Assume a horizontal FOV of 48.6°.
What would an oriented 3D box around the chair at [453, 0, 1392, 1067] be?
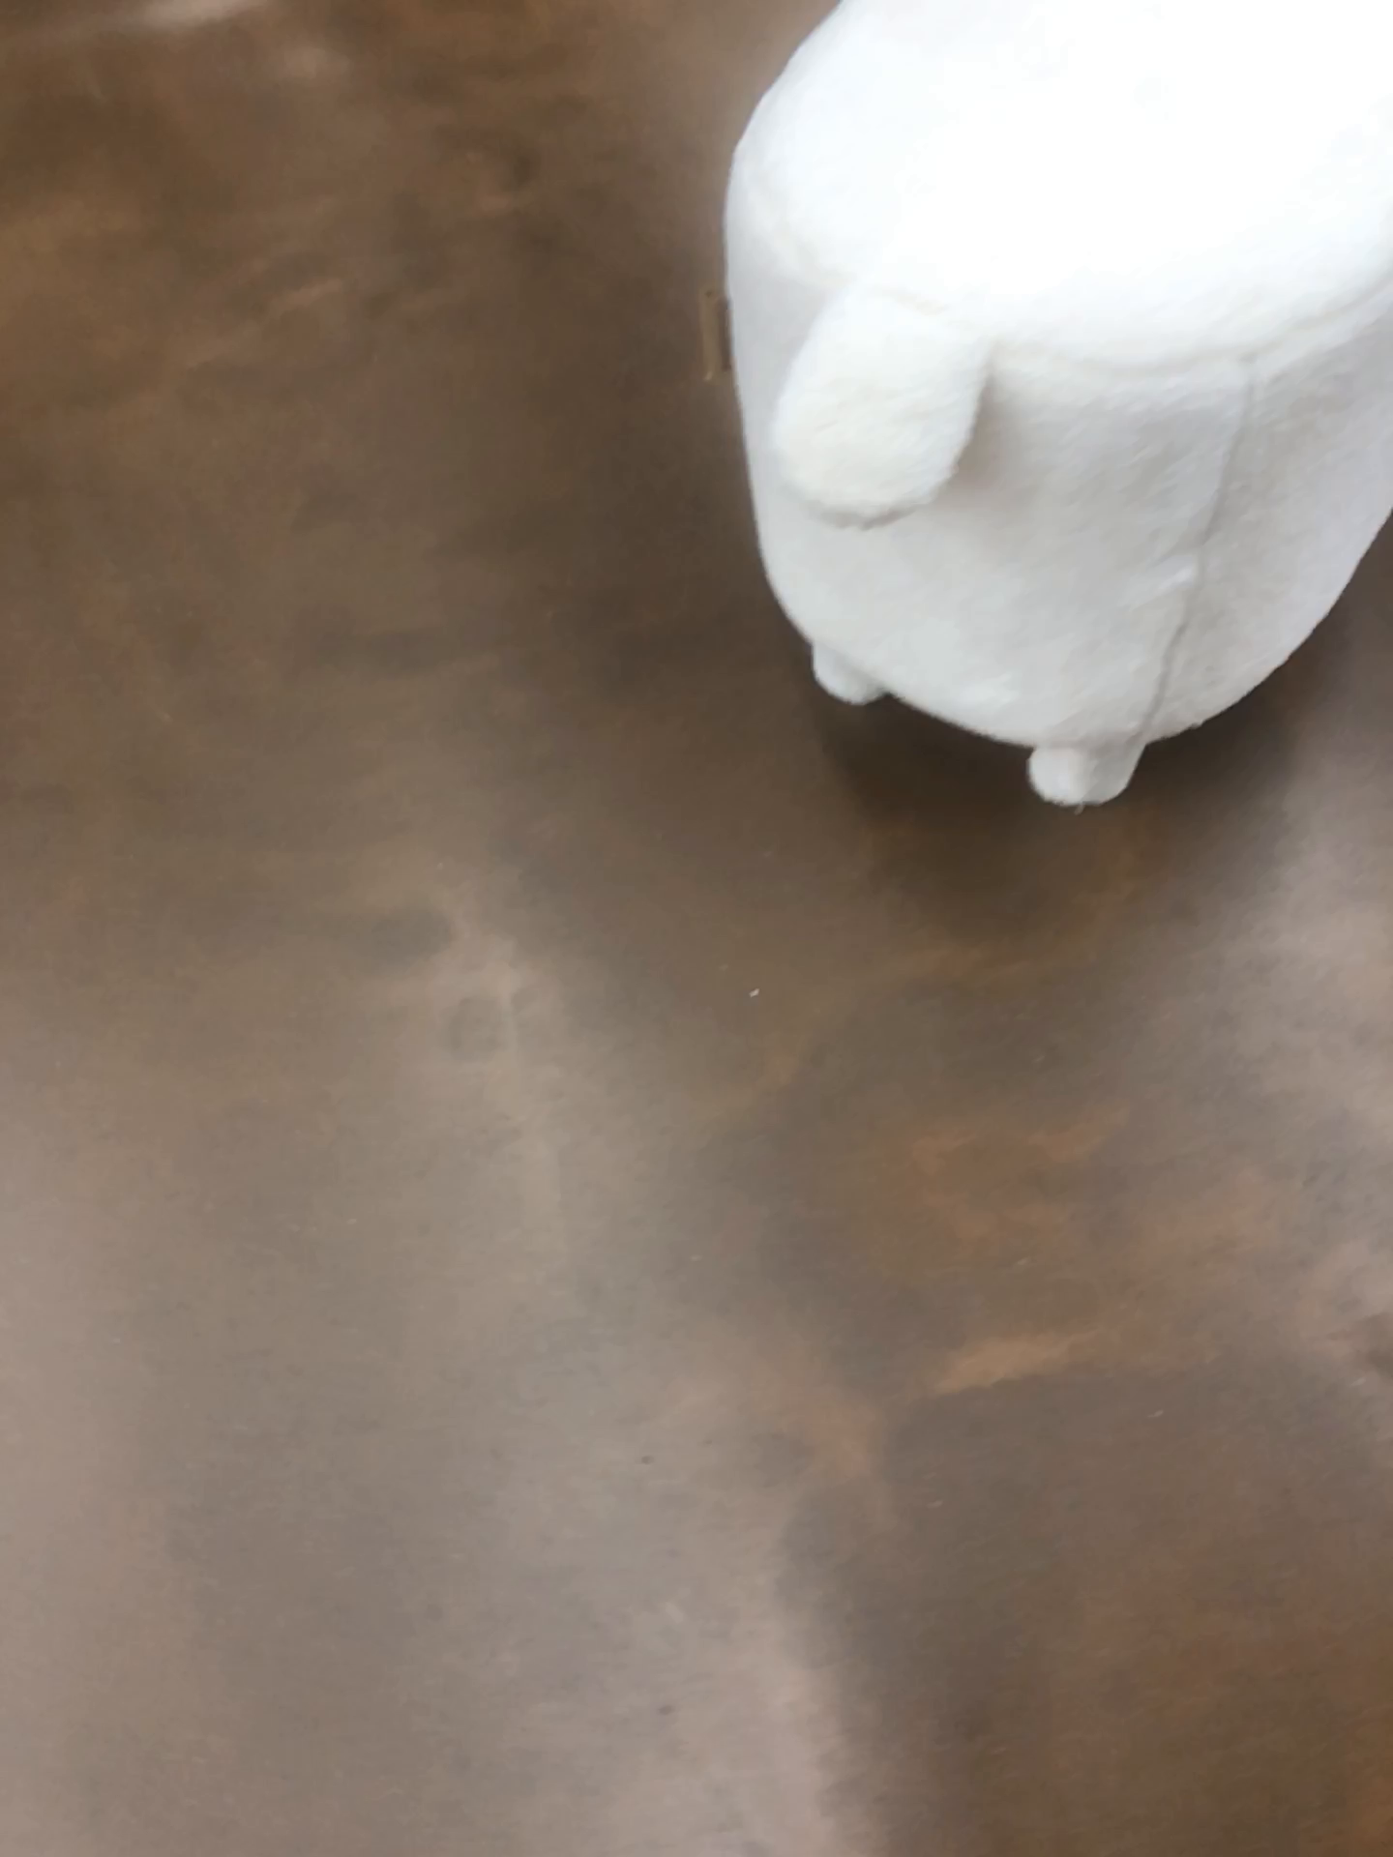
[{"bbox_3d":[0.280,-0.347,0.854,0.440,0.349,0.631,36,69,23],"label":"chair"}]
